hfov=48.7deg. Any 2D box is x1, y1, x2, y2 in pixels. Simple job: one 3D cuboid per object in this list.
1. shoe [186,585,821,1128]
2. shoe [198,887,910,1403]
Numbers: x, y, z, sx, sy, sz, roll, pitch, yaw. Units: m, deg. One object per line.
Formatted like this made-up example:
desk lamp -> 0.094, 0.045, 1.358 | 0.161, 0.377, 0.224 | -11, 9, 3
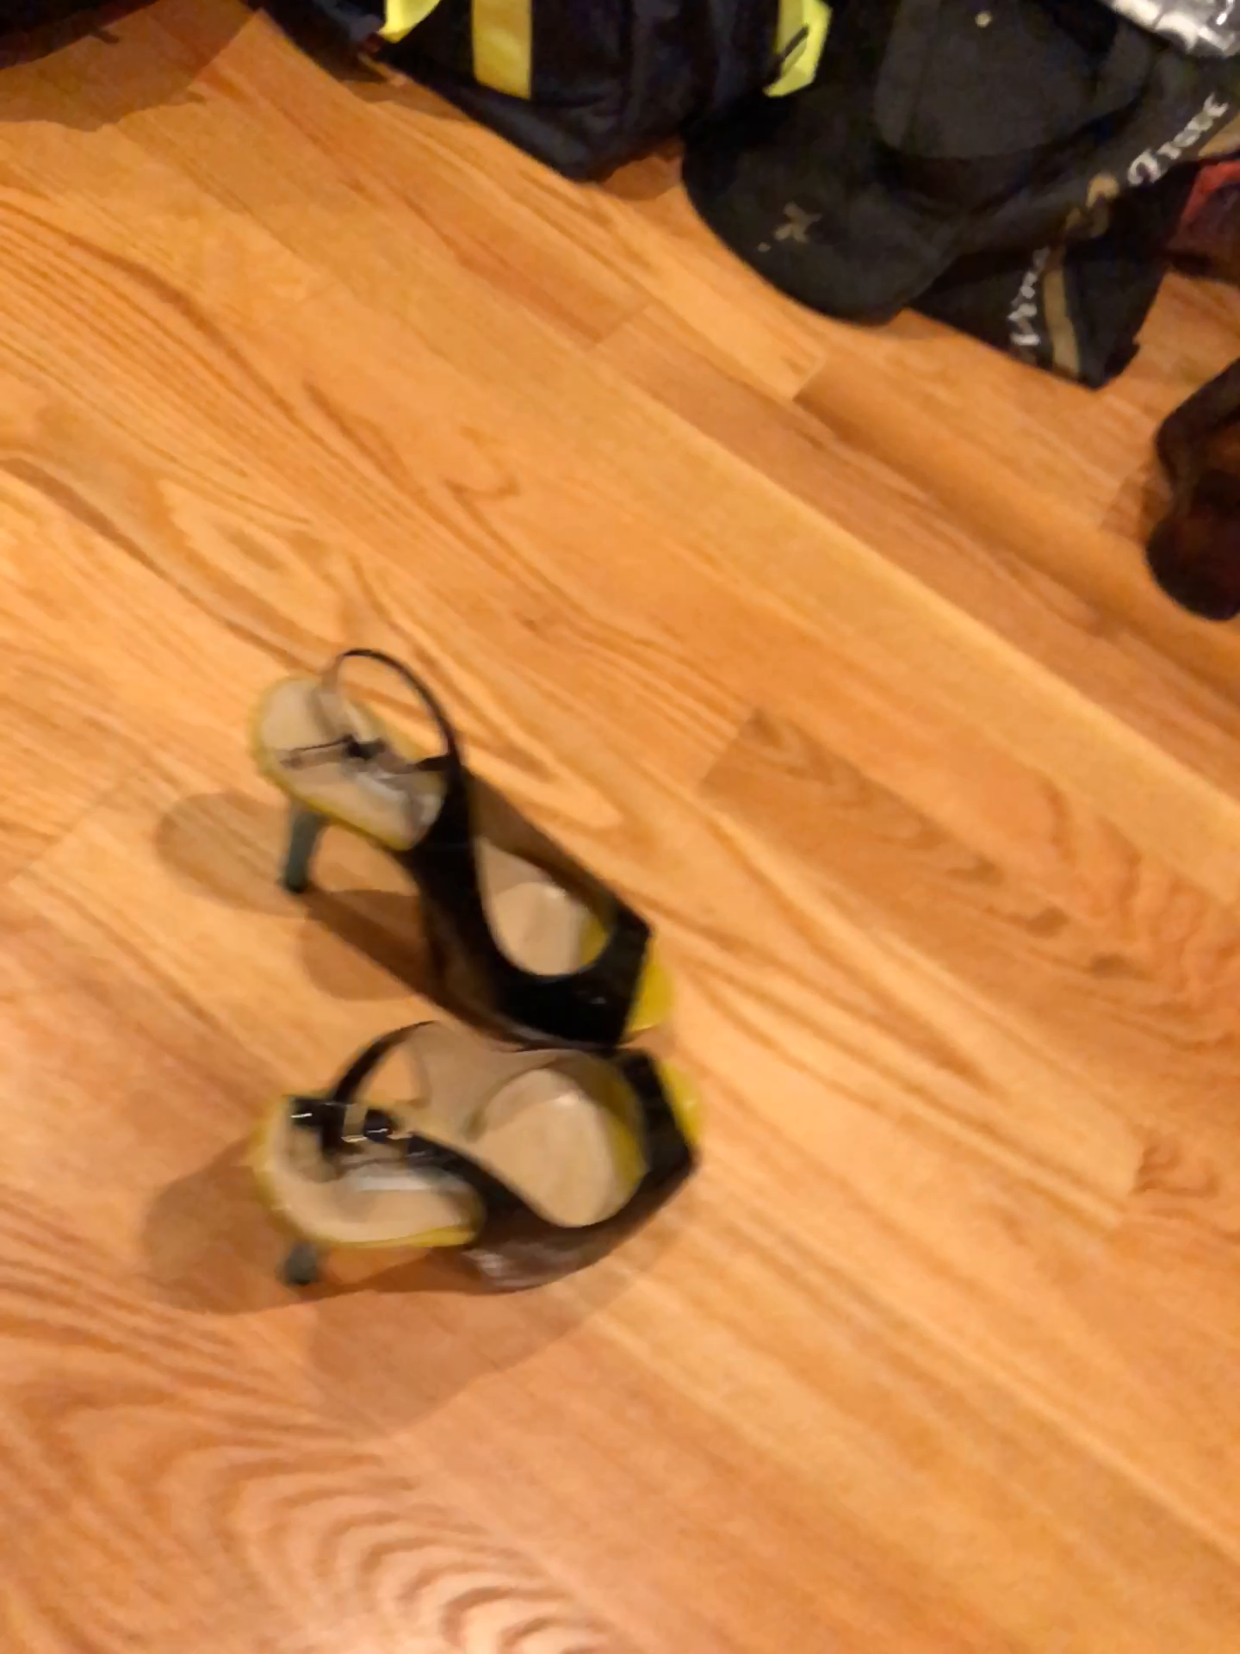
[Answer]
shoe -> -0.047, 0.018, 0.530 | 0.204, 0.121, 0.085 | 24, 51, -6
shoe -> -0.028, 0.108, 0.476 | 0.201, 0.131, 0.085 | -10, 62, -28
